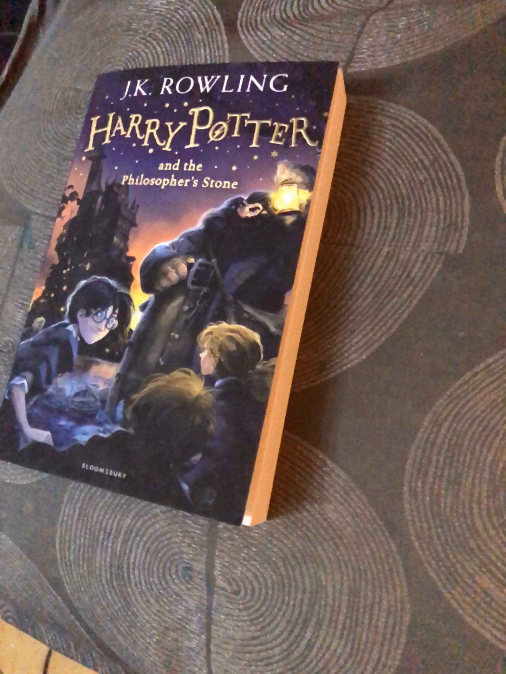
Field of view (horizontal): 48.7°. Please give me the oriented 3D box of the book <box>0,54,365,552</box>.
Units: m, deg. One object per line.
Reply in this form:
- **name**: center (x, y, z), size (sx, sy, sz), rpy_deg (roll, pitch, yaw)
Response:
- **book**: center (-0.034, -0.028, 0.261), size (0.140, 0.040, 0.210), rpy_deg (8, 78, 15)
